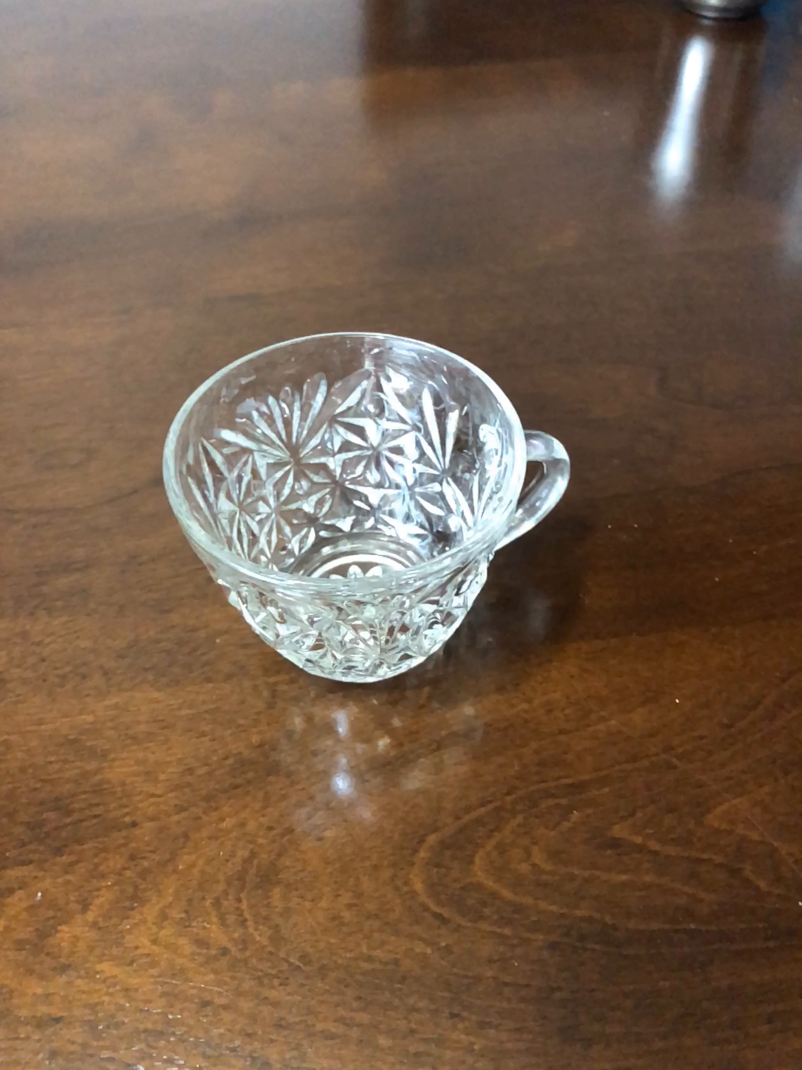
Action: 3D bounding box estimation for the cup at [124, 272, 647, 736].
[{"bbox_3d":[-0.006,-0.010,0.224,0.100,0.060,0.070,-16,50,-11],"label":"cup"}]
